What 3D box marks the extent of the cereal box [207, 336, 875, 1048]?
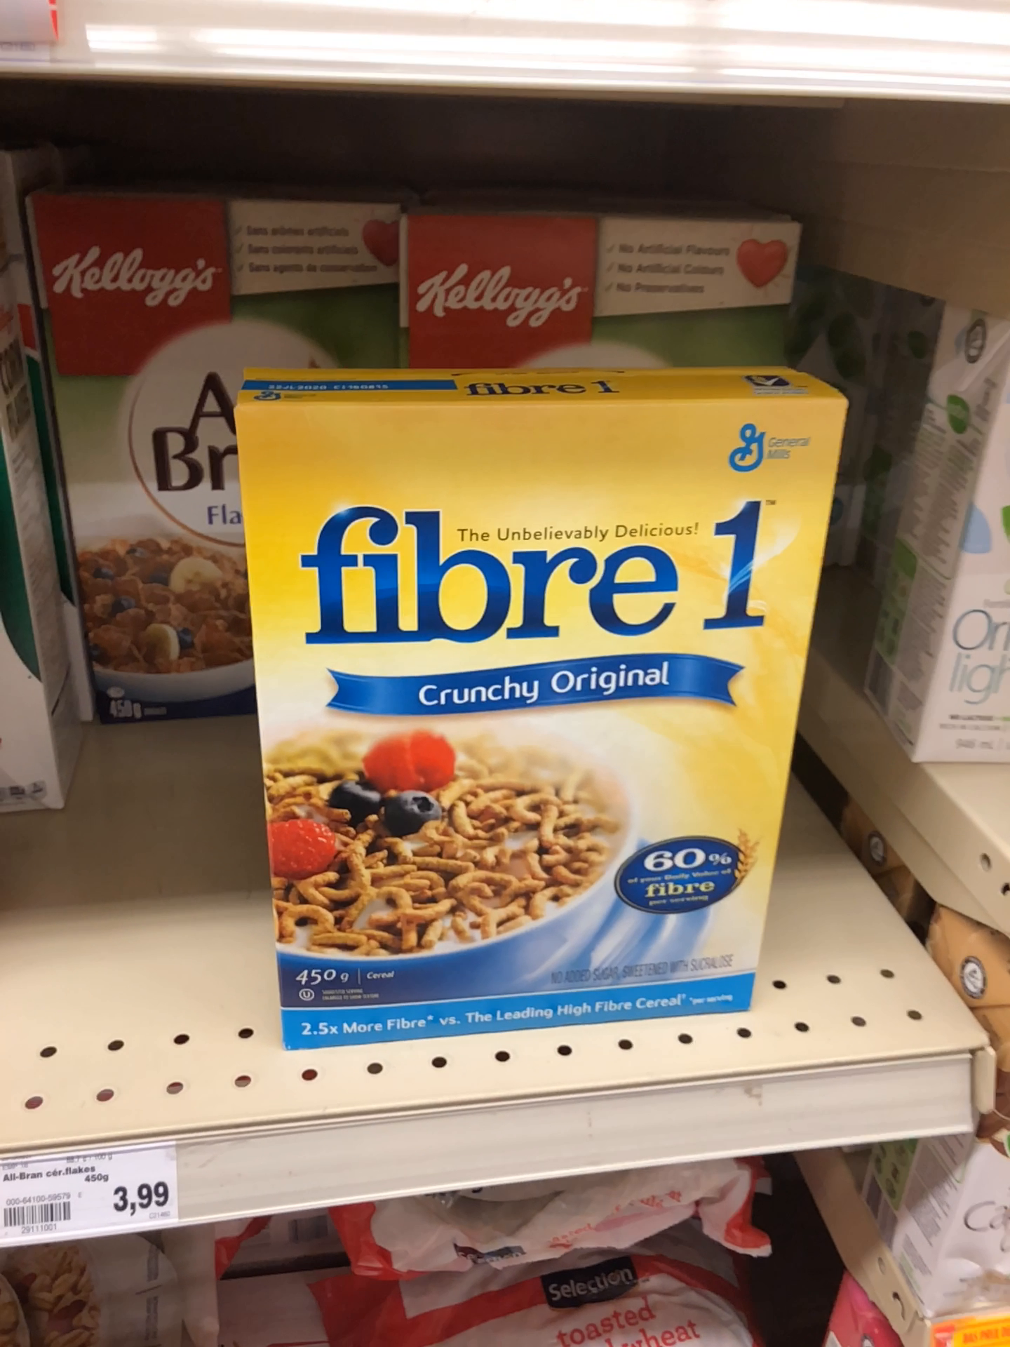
[{"bbox_3d":[0.007,0.014,0.433,0.210,0.268,0.060,-2,27,-8],"label":"cereal box"}]
